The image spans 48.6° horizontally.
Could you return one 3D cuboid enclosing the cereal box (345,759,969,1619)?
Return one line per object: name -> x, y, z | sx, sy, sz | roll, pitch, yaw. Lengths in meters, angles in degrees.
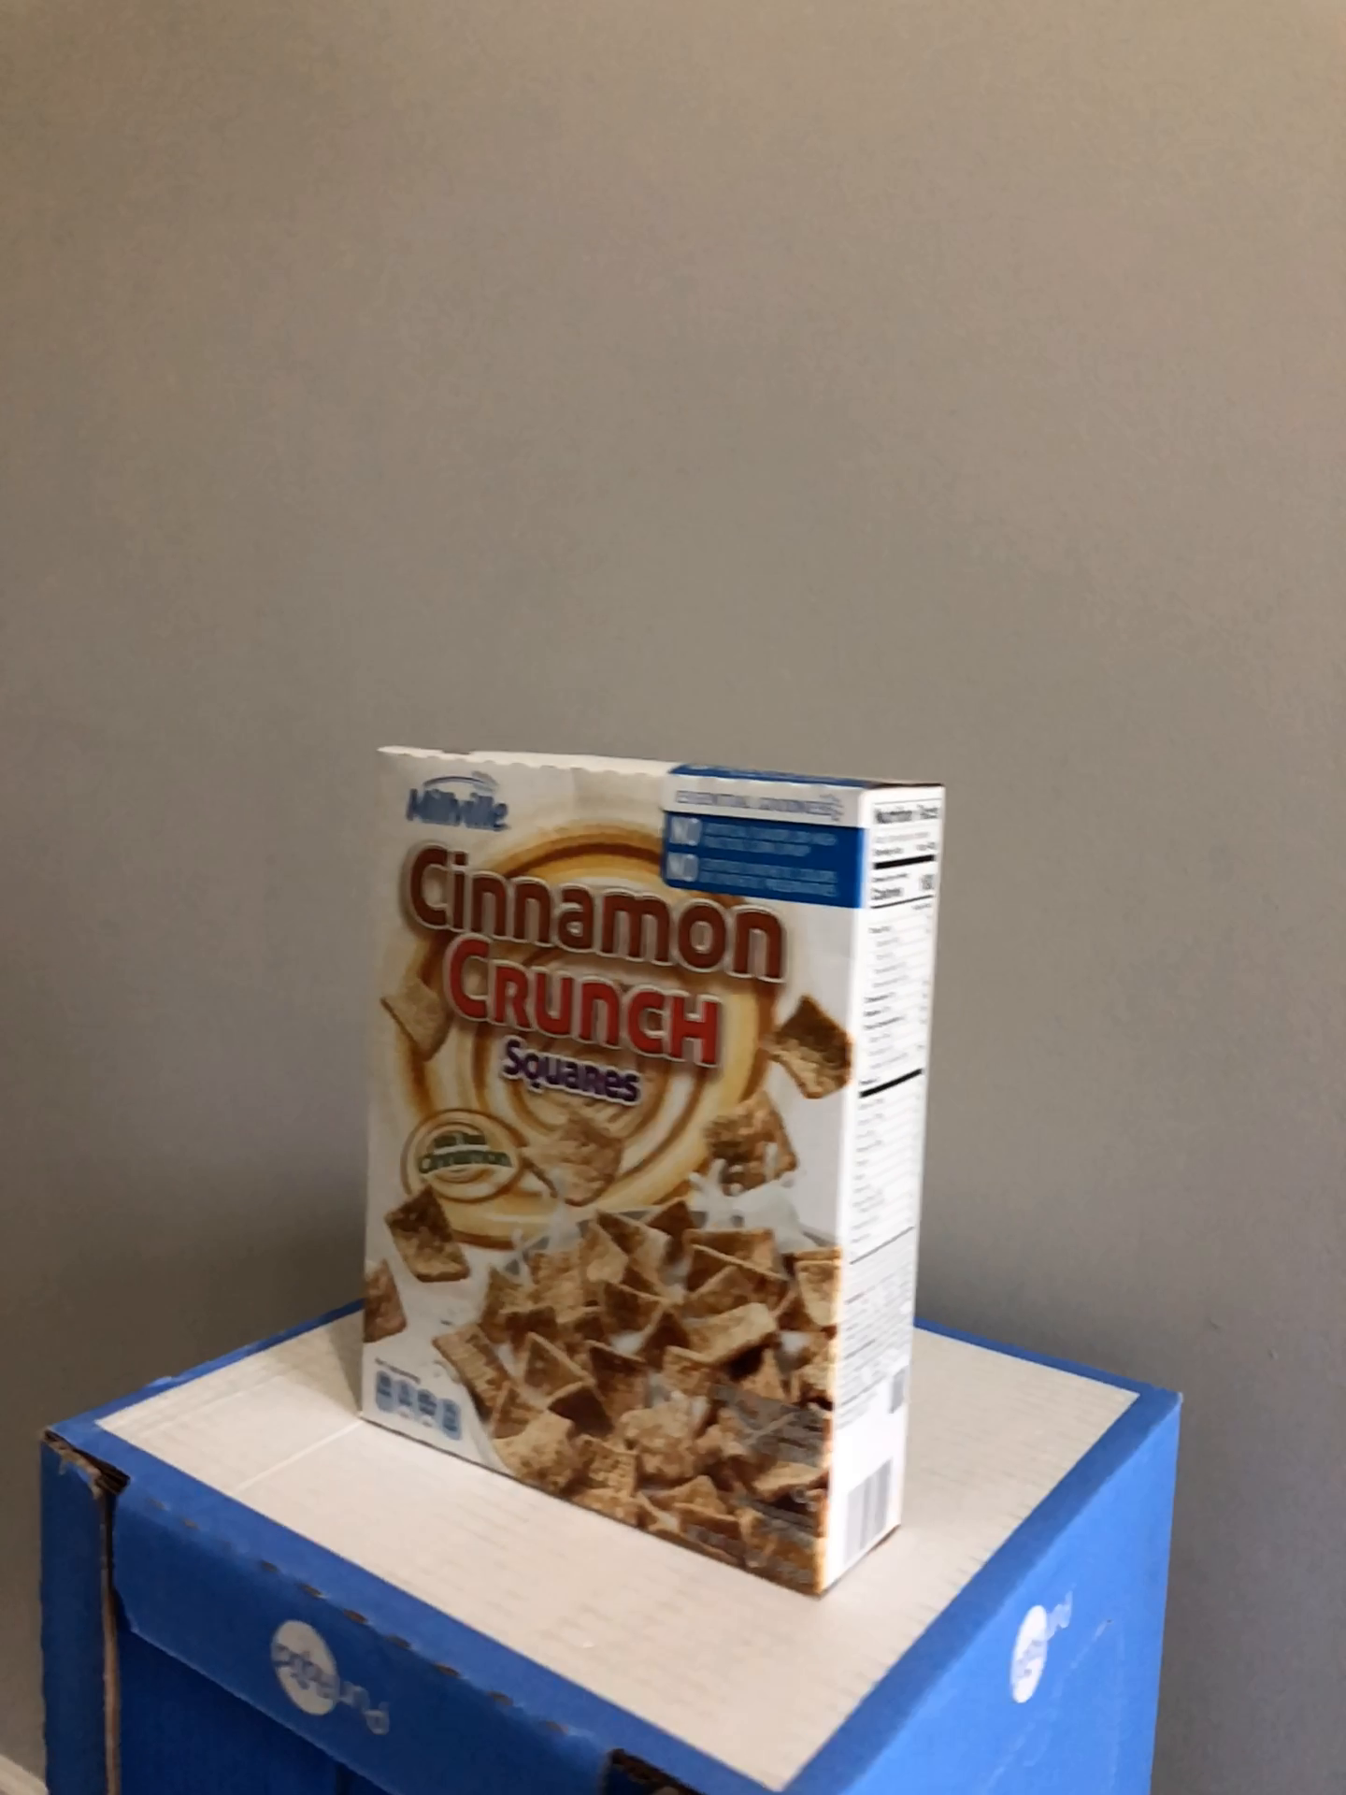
cereal box -> -0.015, 0.082, 0.525 | 0.210, 0.250, 0.070 | 7, 8, 33
